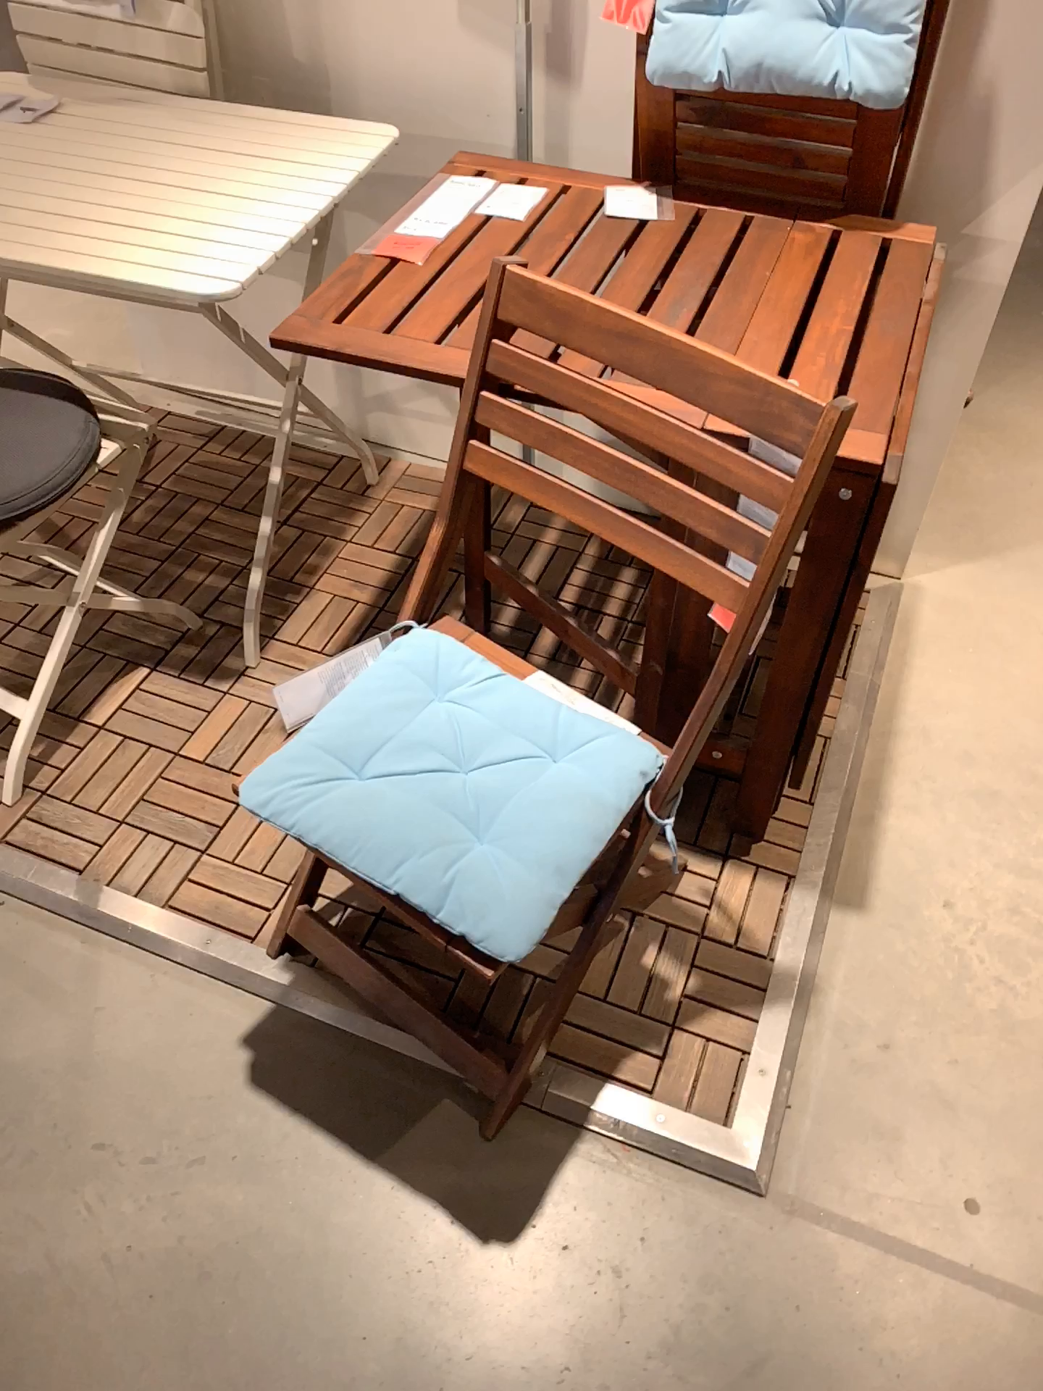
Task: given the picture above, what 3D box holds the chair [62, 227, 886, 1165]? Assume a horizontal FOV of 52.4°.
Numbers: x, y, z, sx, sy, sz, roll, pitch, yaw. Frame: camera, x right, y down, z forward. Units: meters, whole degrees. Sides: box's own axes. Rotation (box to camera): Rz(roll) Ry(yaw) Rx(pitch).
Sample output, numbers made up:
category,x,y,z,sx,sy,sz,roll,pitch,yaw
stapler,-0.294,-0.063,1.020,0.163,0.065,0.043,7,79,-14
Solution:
category,x,y,z,sx,sy,sz,roll,pitch,yaw
chair,-0.030,0.020,1.181,0.471,0.777,0.521,31,54,25
